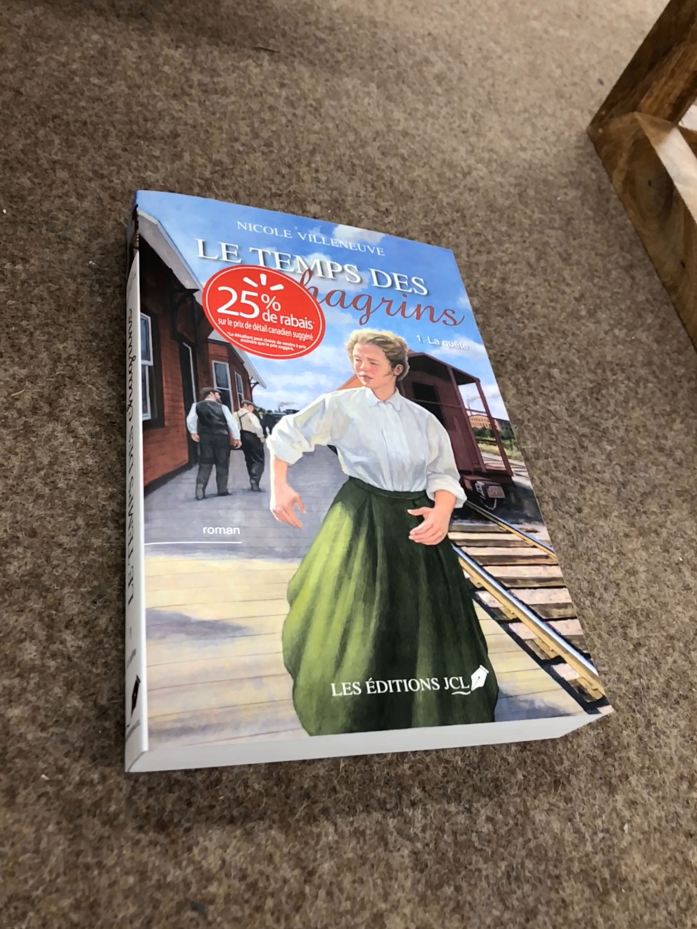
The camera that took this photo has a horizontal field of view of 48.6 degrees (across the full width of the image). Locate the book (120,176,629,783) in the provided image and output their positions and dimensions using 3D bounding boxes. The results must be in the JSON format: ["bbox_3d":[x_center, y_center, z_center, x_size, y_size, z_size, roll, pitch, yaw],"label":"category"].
[{"bbox_3d":[-0.003,-0.009,0.291,0.155,0.030,0.225,4,55,-22],"label":"book"}]
